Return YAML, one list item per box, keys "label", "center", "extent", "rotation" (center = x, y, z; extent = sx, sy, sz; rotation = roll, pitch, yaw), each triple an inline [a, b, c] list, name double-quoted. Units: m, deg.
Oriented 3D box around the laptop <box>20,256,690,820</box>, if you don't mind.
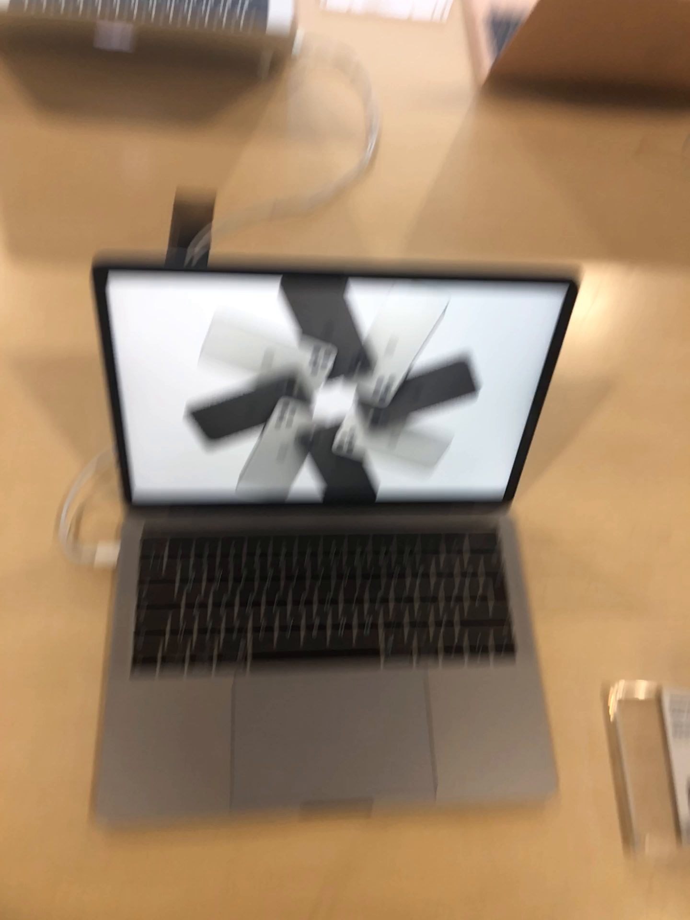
- label: "laptop"
  center: [-0.007, 0.055, 0.478]
  extent: [0.296, 0.182, 0.295]
  rotation: [0, 63, -8]
